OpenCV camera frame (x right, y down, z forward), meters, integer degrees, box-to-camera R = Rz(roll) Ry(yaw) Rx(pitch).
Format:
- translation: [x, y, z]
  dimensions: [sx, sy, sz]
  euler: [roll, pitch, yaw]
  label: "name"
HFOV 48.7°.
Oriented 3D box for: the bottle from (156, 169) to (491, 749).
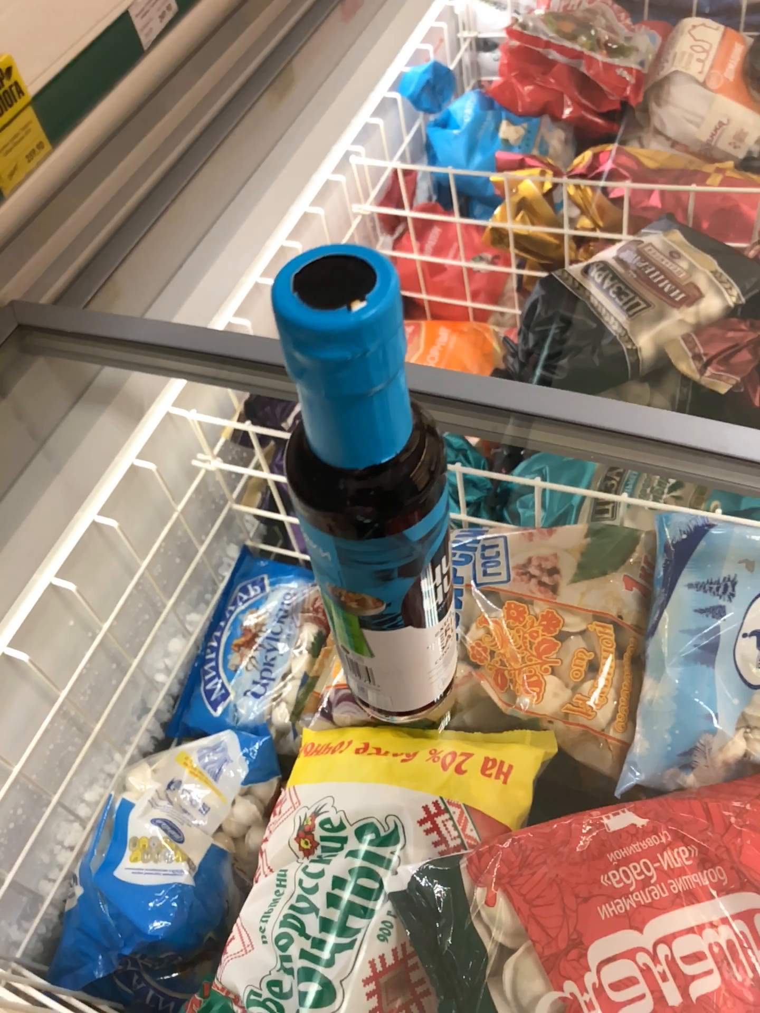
- translation: [-0.001, 0.005, 0.285]
  dimensions: [0.060, 0.219, 0.060]
  euler: [-4, 52, 5]
  label: "bottle"
